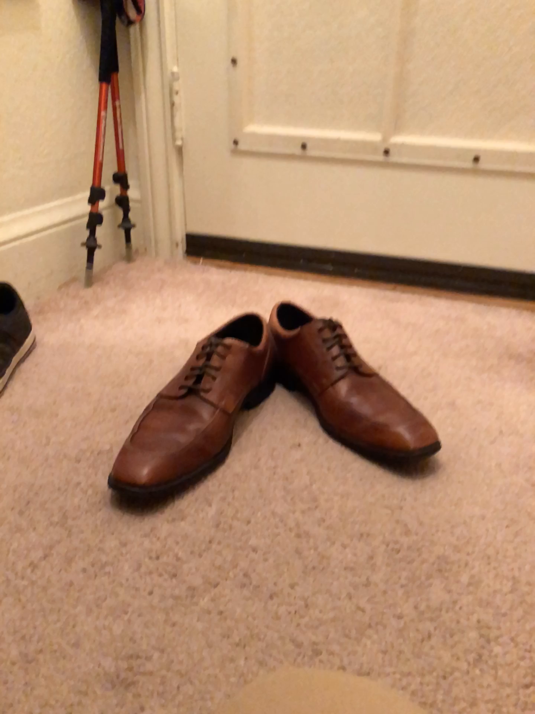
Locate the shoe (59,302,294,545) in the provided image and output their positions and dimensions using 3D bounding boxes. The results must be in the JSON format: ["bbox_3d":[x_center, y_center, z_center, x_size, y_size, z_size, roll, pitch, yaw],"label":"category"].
[{"bbox_3d":[-0.081,0.053,0.683,0.120,0.119,0.302,12,29,20],"label":"shoe"}]

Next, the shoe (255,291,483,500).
[{"bbox_3d":[0.101,0.026,0.719,0.100,0.109,0.301,-14,30,-27],"label":"shoe"}]
